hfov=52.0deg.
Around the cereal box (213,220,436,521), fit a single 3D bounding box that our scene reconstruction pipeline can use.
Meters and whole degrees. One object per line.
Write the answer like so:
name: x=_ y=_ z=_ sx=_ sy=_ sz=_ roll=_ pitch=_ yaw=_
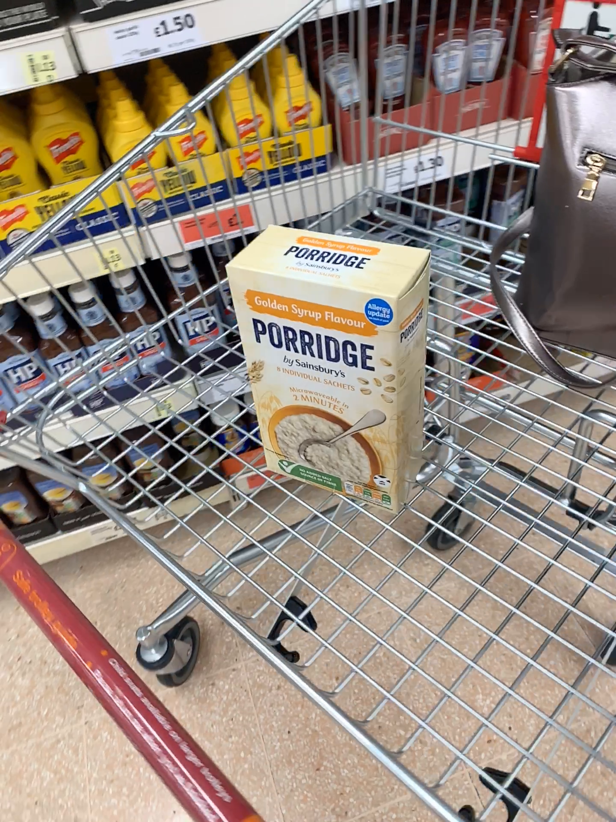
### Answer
cereal box: x=0.021 y=-0.025 z=0.487 sx=0.130 sy=0.208 sz=0.070 roll=16 pitch=48 yaw=23
